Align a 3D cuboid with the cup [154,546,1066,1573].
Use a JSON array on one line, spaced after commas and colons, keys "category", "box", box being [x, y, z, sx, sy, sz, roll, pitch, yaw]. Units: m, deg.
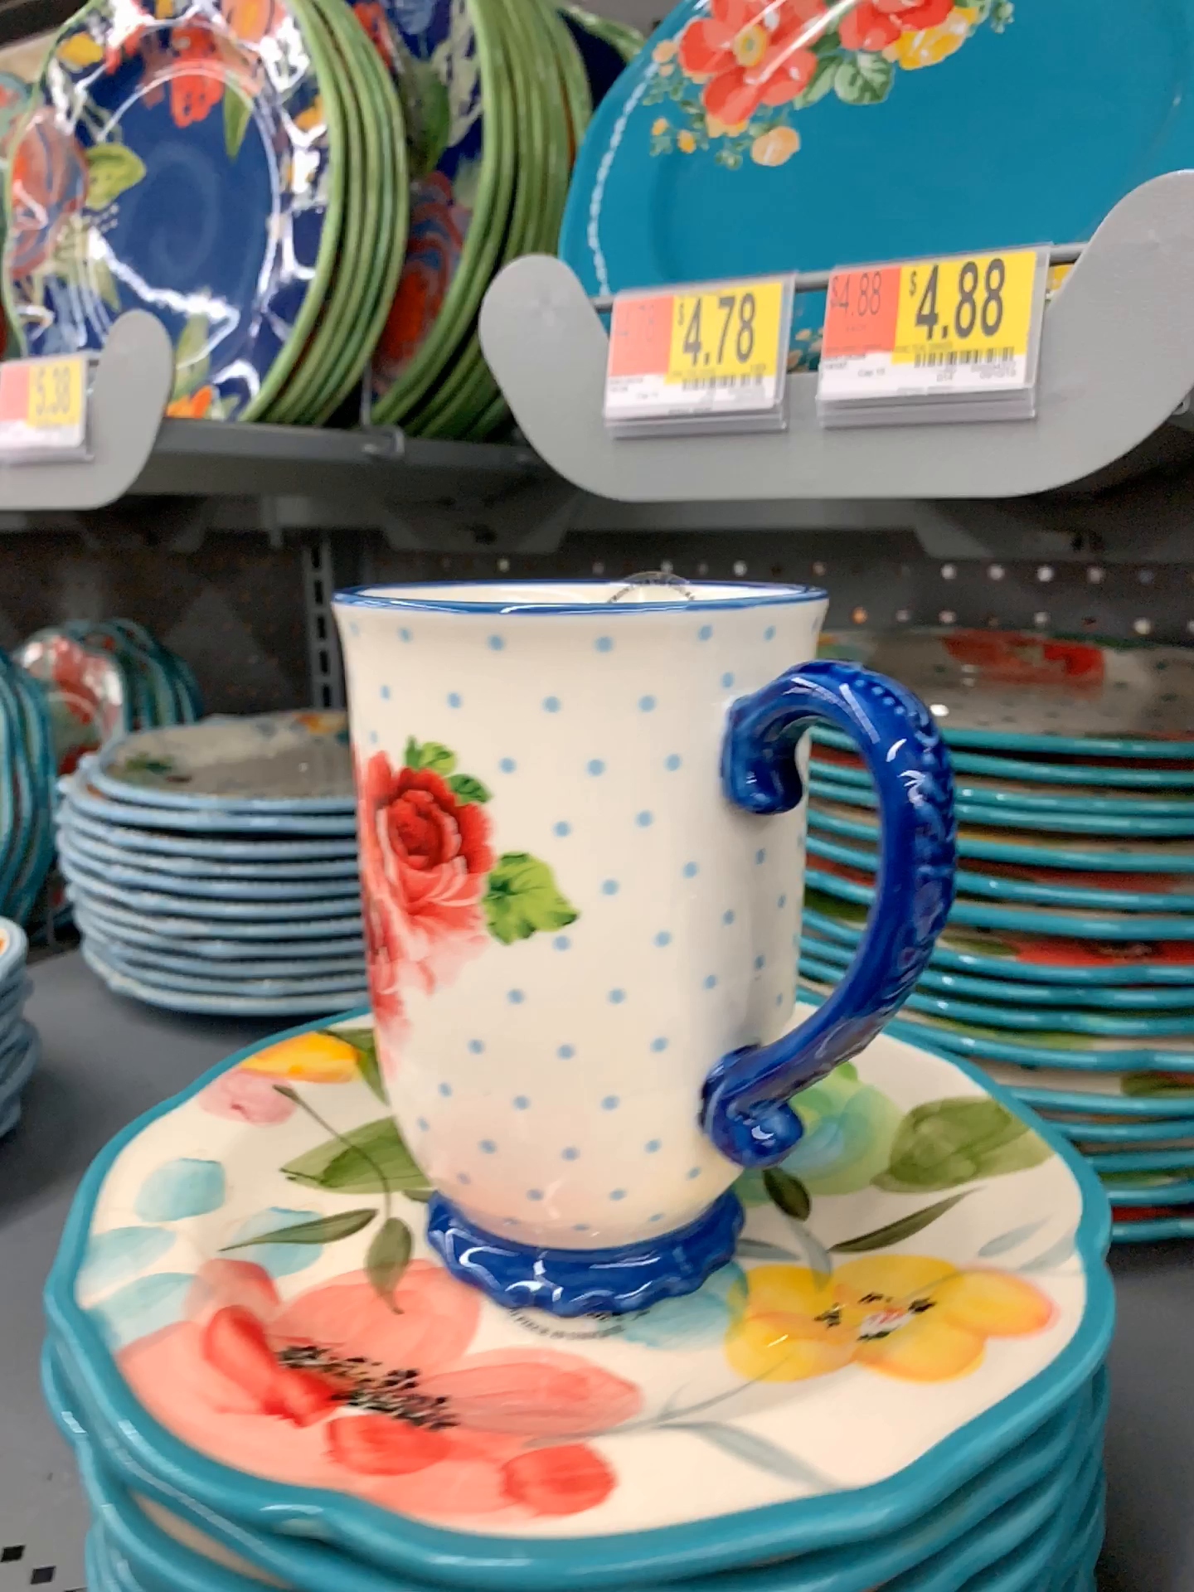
[{"category": "cup", "box": [-0.001, 0.023, 0.228, 0.130, 0.130, 0.090, 11, 18, 42]}]
